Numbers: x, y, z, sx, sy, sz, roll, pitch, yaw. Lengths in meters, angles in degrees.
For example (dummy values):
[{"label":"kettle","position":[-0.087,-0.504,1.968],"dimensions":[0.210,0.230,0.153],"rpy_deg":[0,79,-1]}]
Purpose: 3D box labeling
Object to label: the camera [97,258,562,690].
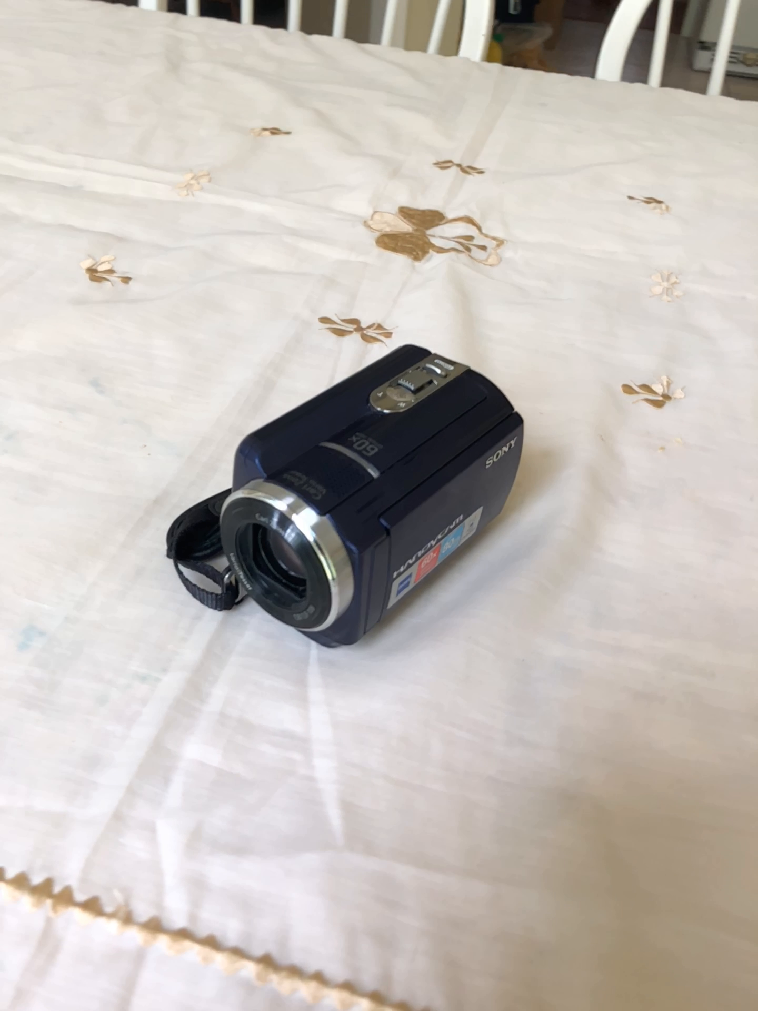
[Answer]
[{"label":"camera","position":[-0.013,-0.020,0.285],"dimensions":[0.090,0.070,0.120],"rpy_deg":[30,46,26]}]
